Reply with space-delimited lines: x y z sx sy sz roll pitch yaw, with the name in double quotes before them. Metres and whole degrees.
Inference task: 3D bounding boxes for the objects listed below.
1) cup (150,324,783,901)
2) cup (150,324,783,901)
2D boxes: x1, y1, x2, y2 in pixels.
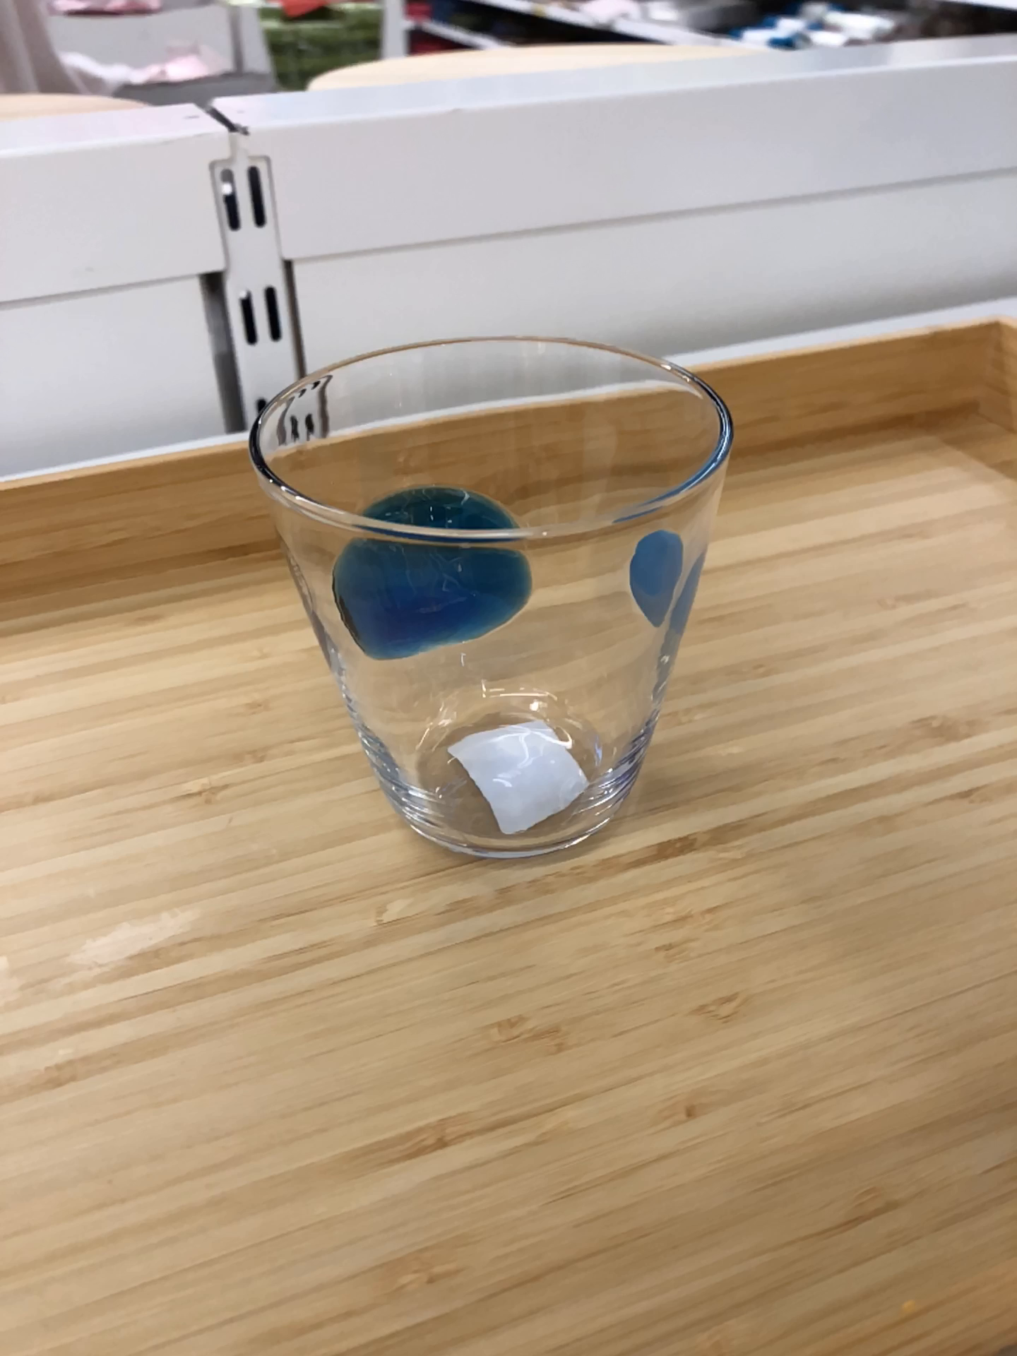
"cup" 0.001 -0.021 0.236 0.100 0.070 0.100 -1 34 1
"cup" 0.001 -0.021 0.236 0.100 0.070 0.100 -1 34 1
